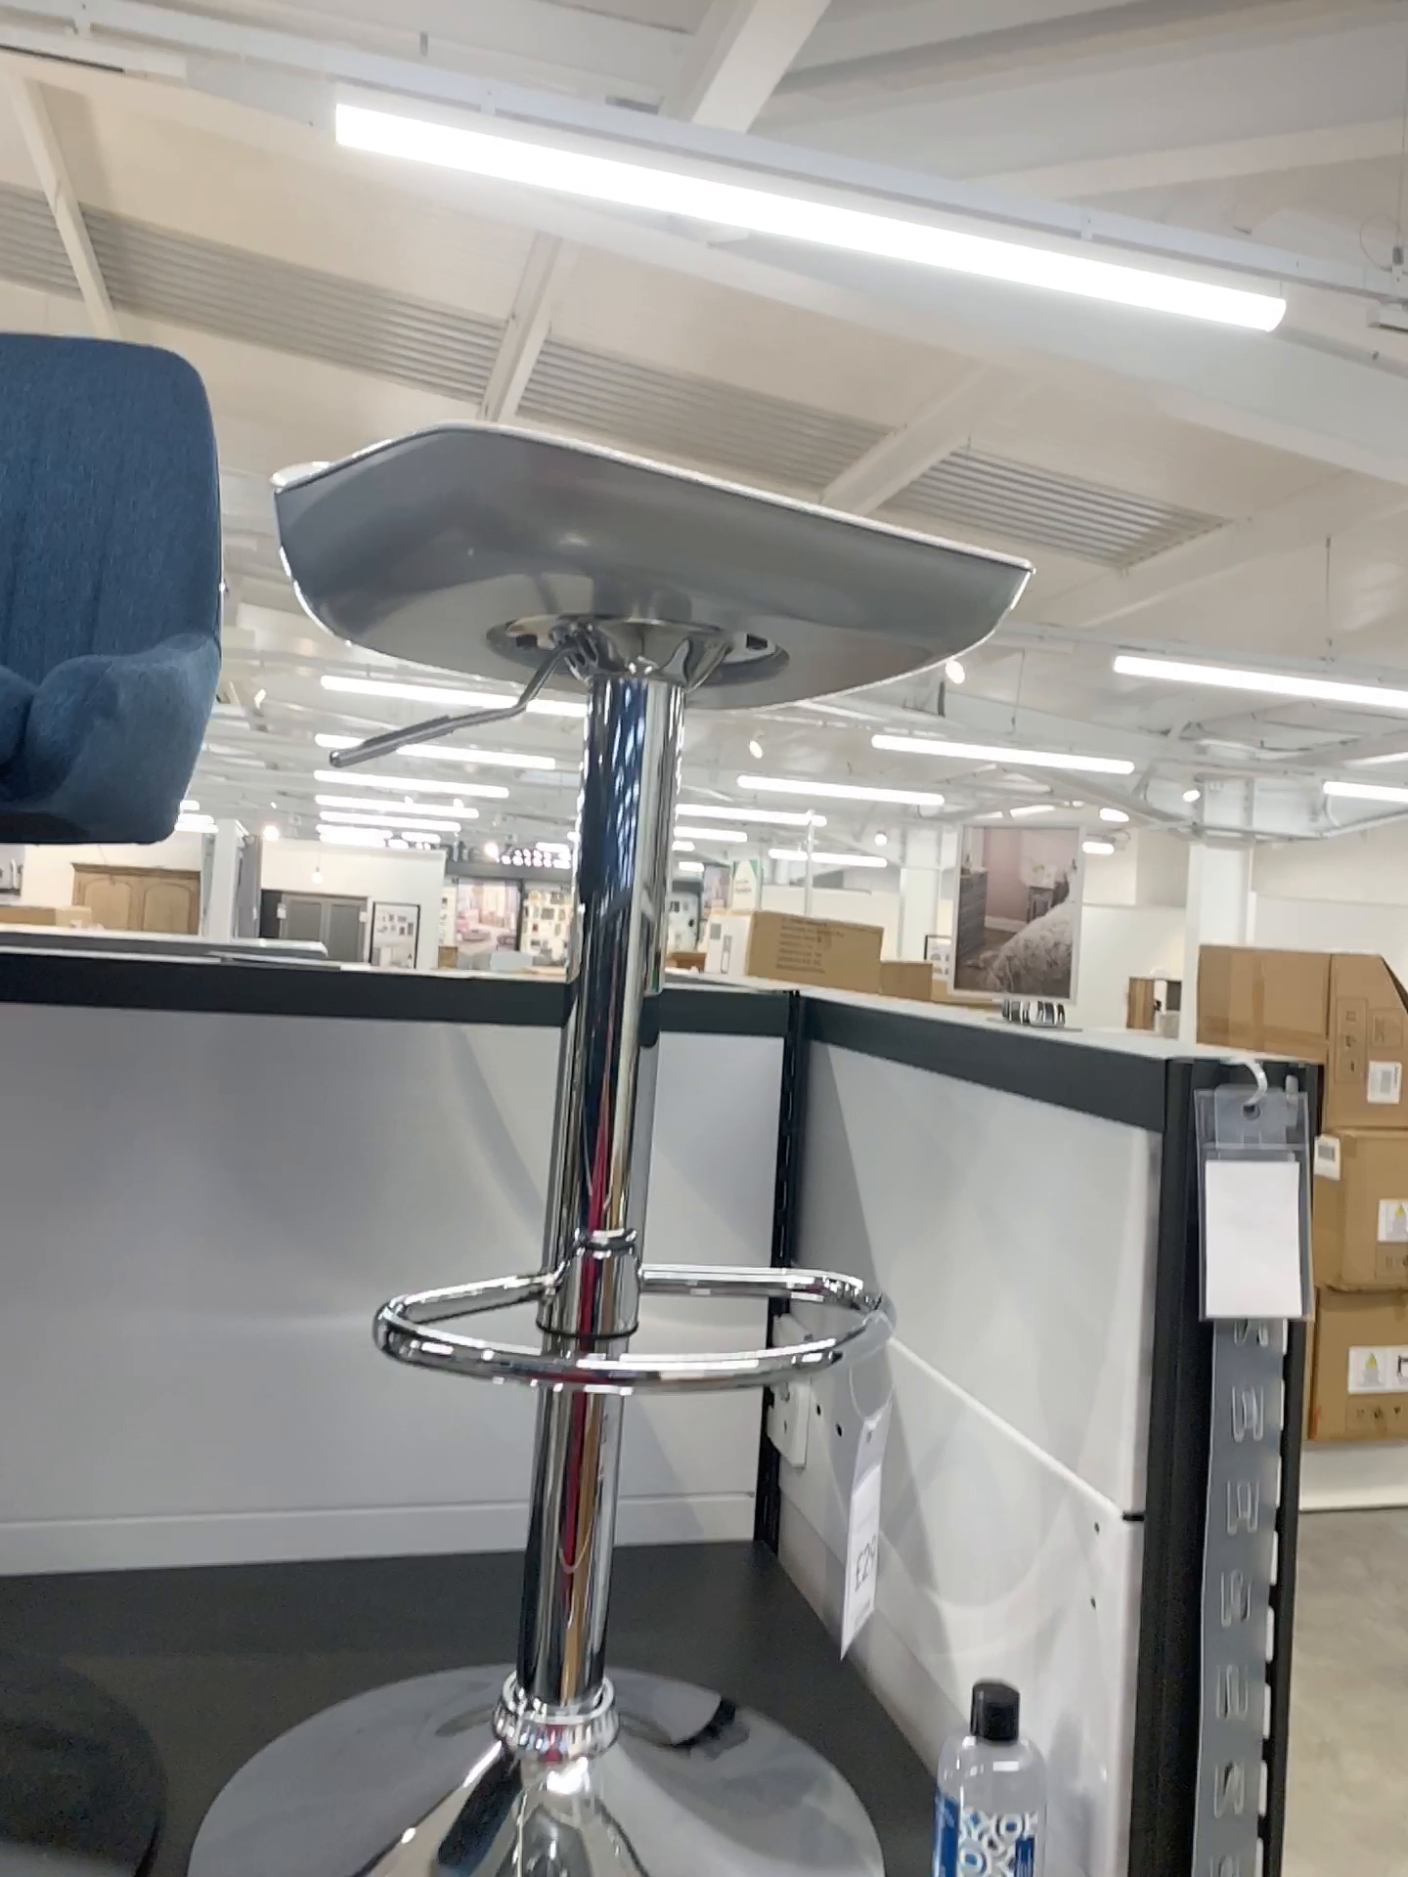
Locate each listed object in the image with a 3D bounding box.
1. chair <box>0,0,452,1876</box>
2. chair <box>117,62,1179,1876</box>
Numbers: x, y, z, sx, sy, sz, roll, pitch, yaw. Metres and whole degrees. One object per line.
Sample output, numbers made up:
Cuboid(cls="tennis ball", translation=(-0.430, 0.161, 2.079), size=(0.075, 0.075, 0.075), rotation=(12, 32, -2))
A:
Cuboid(cls="chair", translation=(-0.466, 0.005, 0.718), size=(0.532, 0.883, 0.483), rotation=(4, -1, -20))
Cuboid(cls="chair", translation=(-0.063, 0.085, 0.787), size=(0.402, 0.803, 0.403), rotation=(5, -1, -25))
